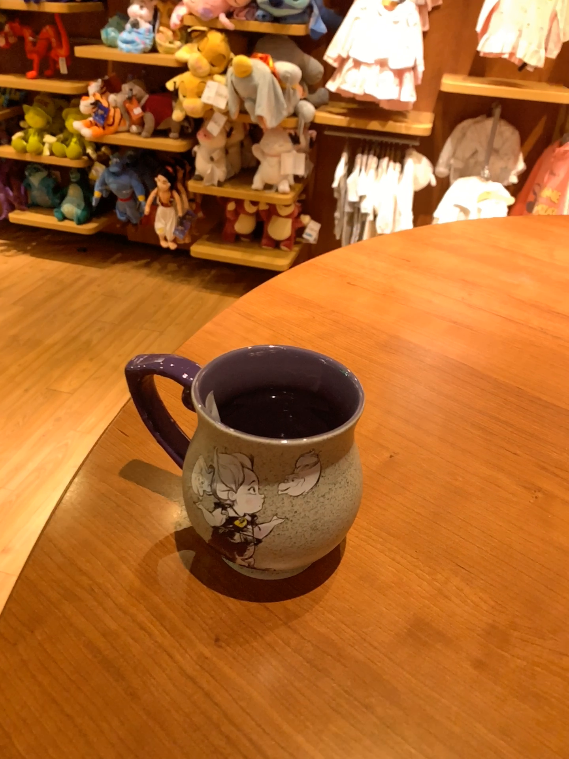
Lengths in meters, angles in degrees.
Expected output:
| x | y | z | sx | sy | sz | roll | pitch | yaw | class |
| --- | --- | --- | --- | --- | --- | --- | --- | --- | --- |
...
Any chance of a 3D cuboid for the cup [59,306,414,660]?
| x | y | z | sx | sy | sz | roll | pitch | yaw | class |
| --- | --- | --- | --- | --- | --- | --- | --- | --- | --- |
| -0.024 | 0.043 | 0.325 | 0.140 | 0.099 | 0.115 | 22 | 36 | 26 | cup |
